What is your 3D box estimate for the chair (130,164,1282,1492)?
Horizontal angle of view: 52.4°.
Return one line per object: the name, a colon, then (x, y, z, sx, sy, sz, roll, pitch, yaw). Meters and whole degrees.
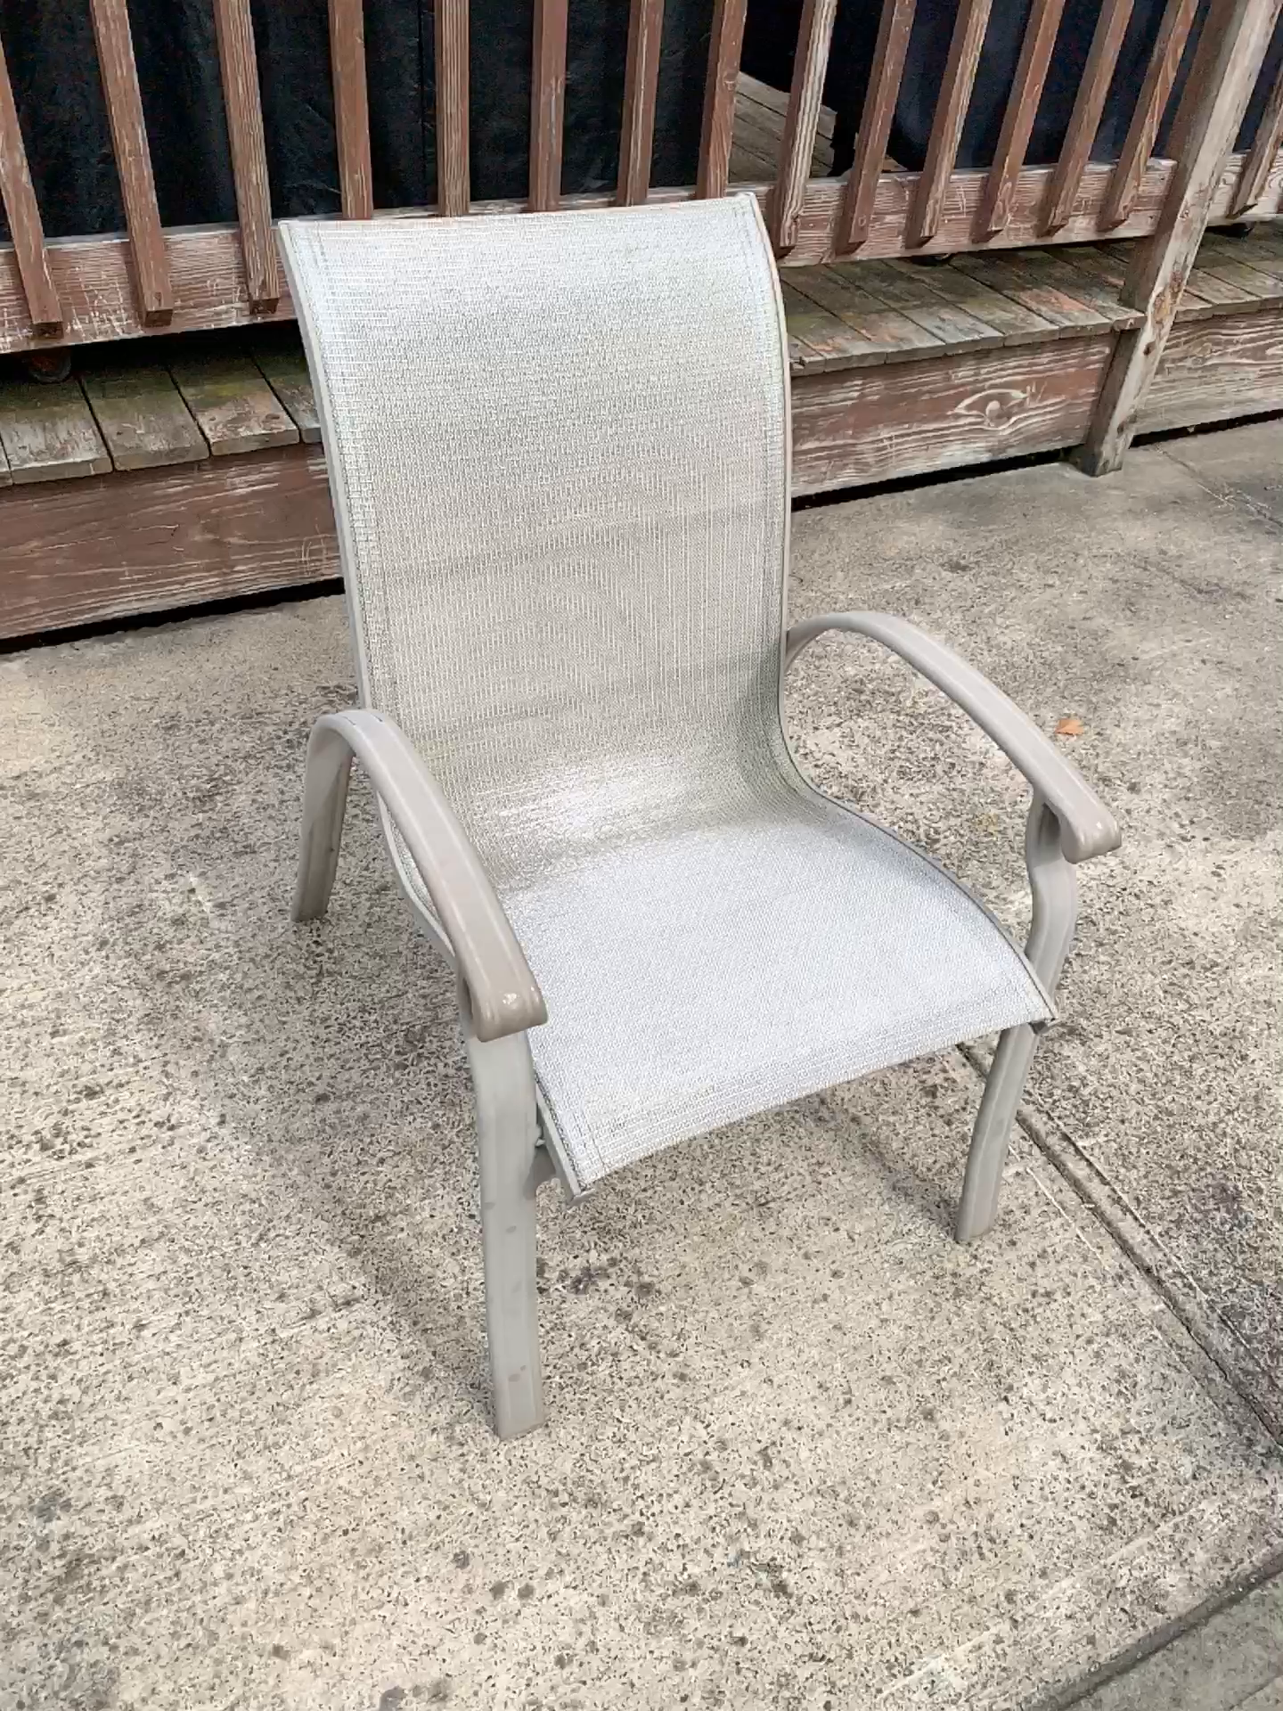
chair: (-0.005, -0.075, 1.256, 0.651, 0.846, 0.793, -15, 46, -21)
